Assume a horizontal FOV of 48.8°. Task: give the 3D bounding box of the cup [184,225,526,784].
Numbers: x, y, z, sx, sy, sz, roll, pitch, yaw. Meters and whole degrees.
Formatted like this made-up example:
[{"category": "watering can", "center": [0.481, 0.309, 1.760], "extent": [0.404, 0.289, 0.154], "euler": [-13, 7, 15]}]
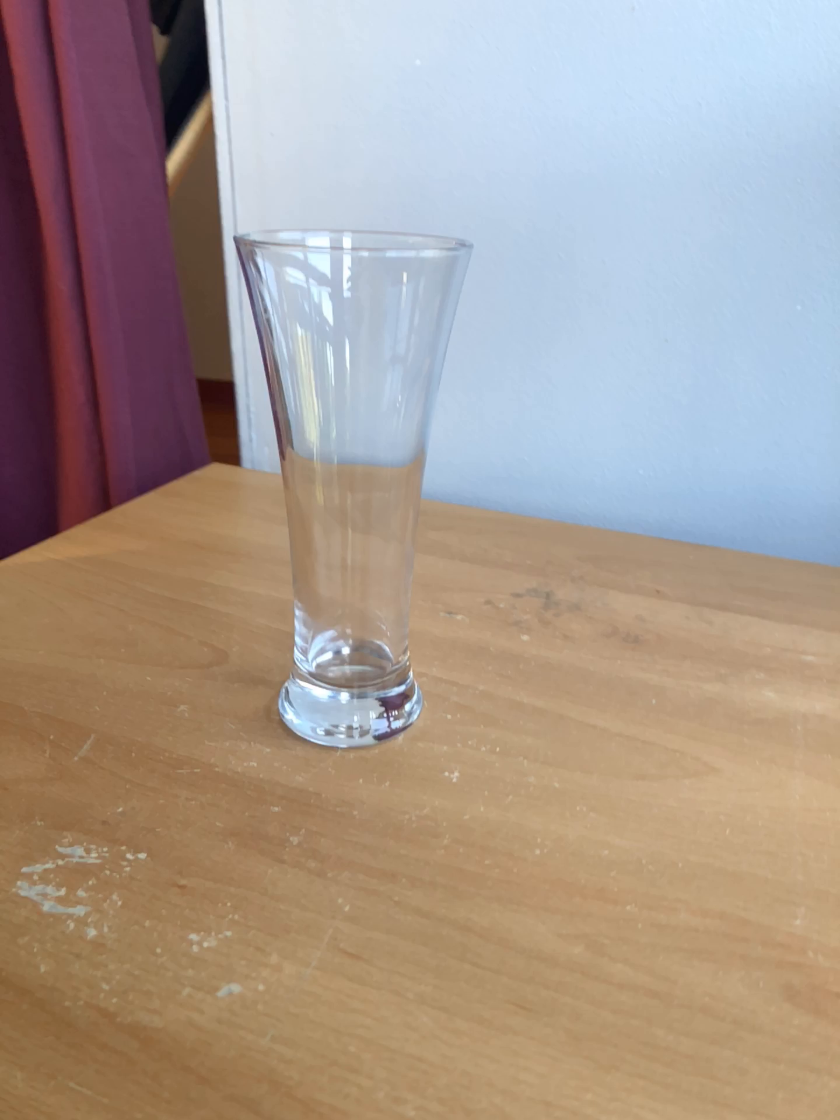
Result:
[{"category": "cup", "center": [-0.025, -0.024, 0.323], "extent": [0.083, 0.168, 0.076], "euler": [2, 24, -1]}]
